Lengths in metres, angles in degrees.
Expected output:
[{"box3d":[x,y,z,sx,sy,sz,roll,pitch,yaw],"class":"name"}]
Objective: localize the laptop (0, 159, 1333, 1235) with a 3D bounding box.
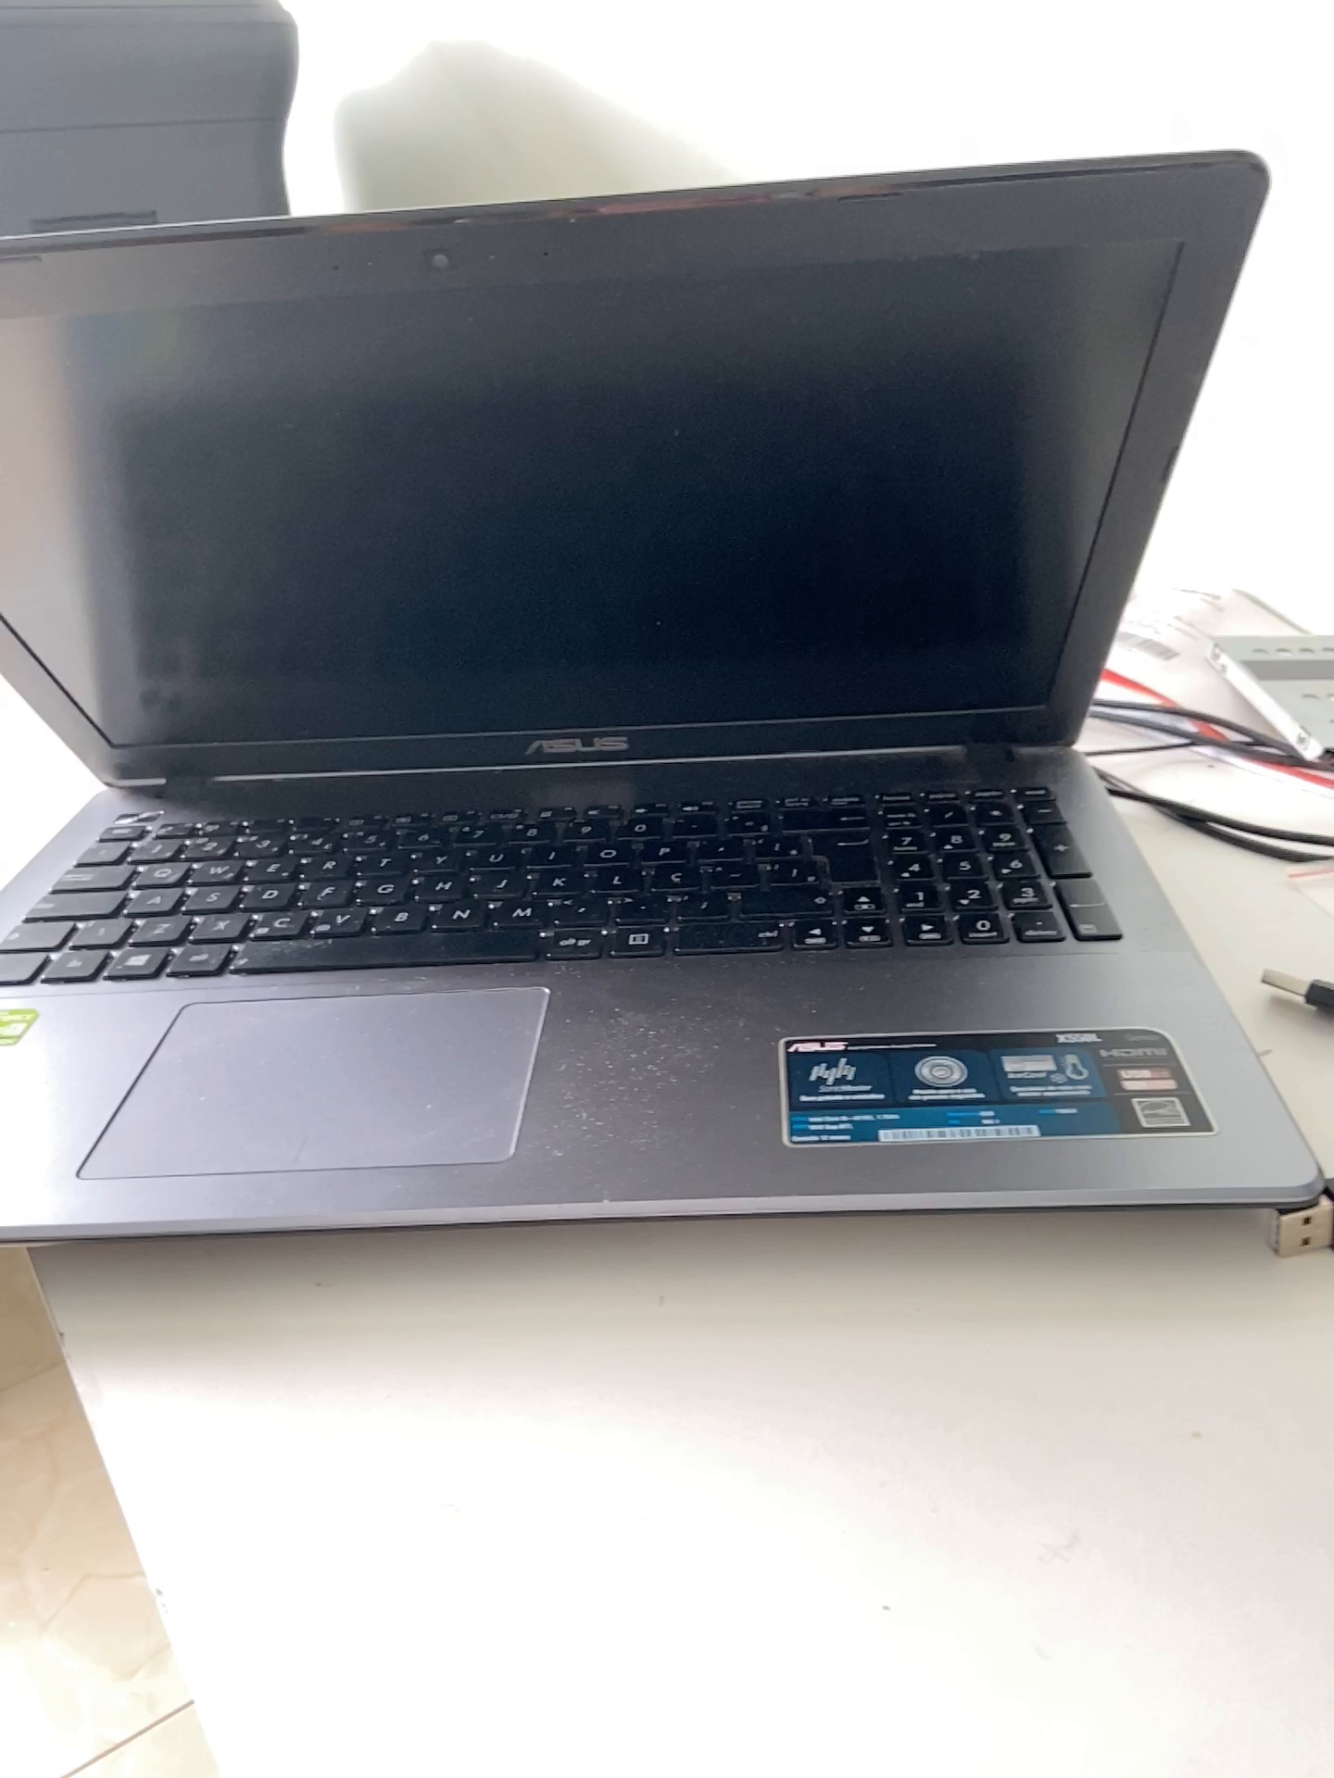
[{"box3d":[-0.045,-0.072,0.367,0.364,0.190,0.246,-2,28,4],"class":"laptop"}]
